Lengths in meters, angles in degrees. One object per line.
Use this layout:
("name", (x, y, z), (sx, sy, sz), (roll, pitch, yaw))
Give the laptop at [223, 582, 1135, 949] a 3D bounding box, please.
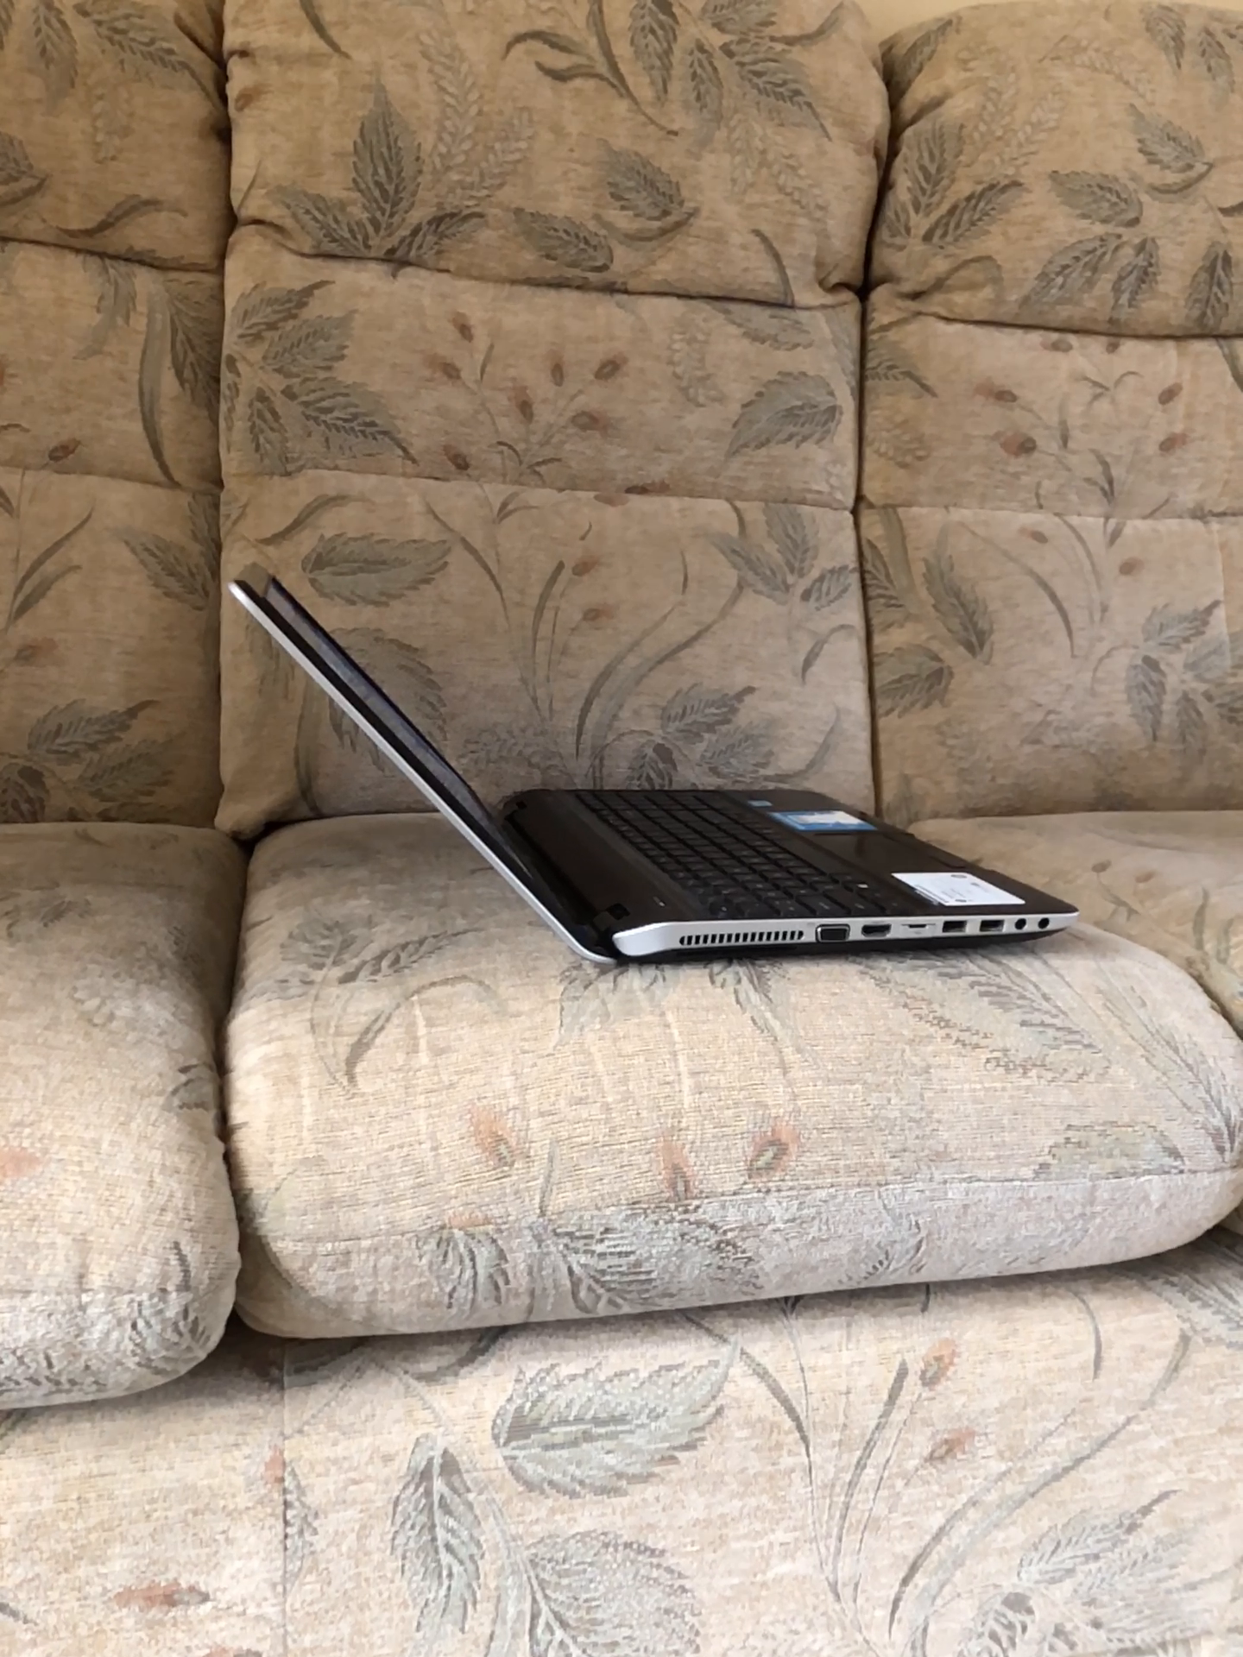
("laptop", (-0.002, -0.059, 0.802), (0.410, 0.151, 0.397), (0, 12, -14))
